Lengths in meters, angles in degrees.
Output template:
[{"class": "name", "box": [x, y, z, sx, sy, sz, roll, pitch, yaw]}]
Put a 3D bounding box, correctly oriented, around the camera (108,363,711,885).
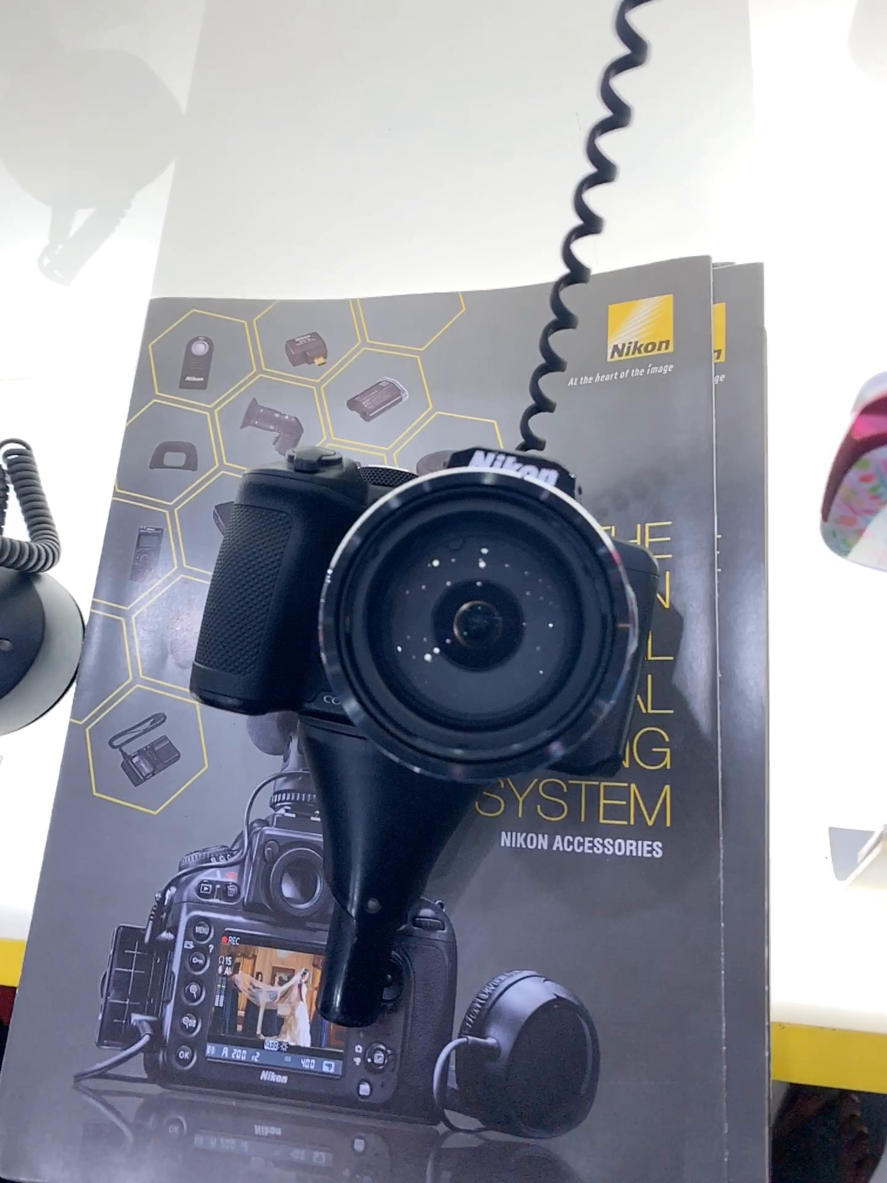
[{"class": "camera", "box": [-0.002, 0.005, 0.235, 0.120, 0.080, 0.090, 12, 89, 17]}]
